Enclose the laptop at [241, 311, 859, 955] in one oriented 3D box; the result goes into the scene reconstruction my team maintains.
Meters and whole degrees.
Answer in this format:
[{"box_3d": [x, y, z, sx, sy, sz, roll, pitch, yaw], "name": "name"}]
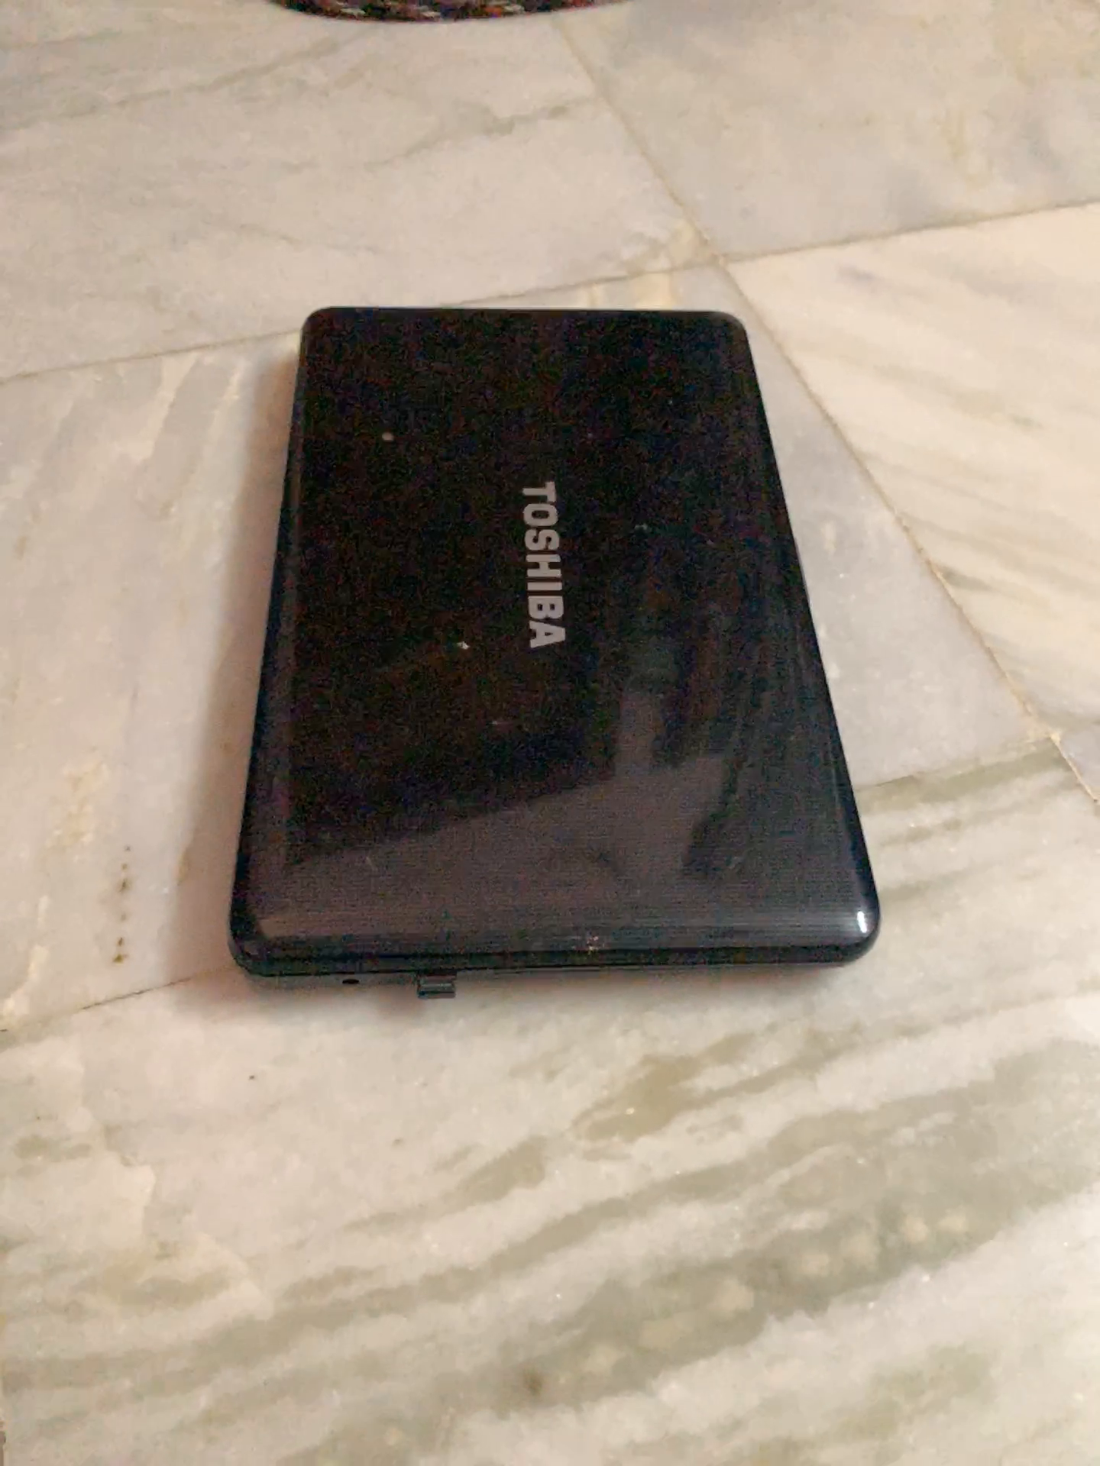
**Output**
[{"box_3d": [-0.006, -0.072, 0.503, 0.222, 0.003, 0.356, 0, 56, -5], "name": "laptop"}]
